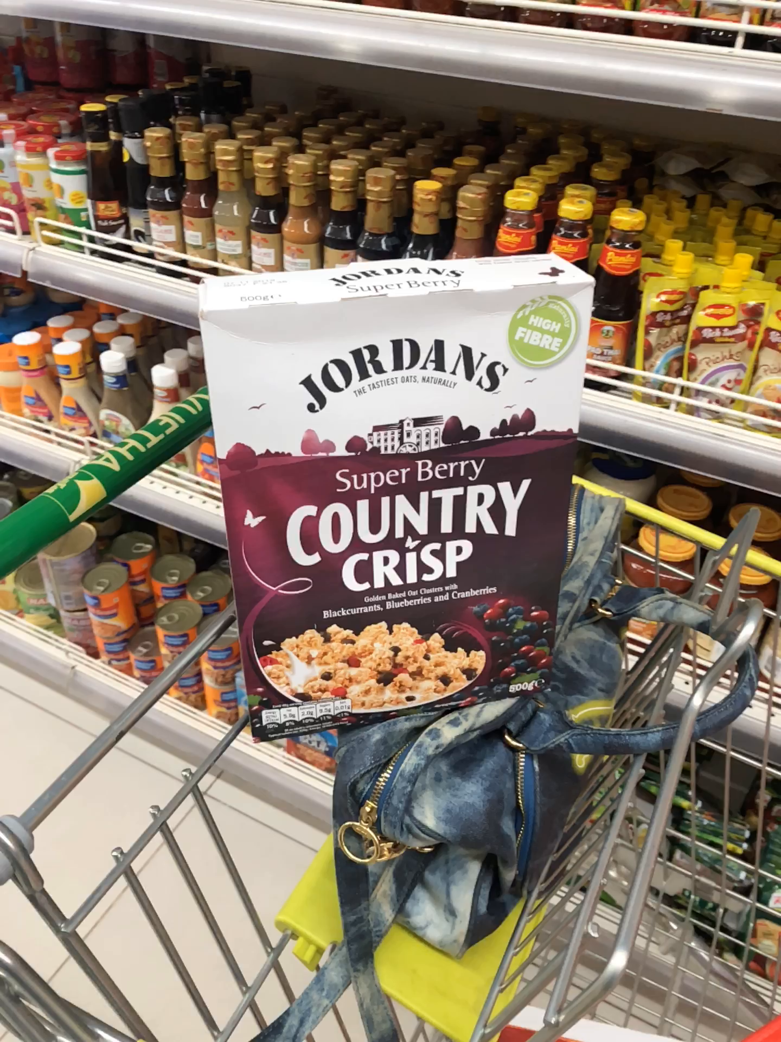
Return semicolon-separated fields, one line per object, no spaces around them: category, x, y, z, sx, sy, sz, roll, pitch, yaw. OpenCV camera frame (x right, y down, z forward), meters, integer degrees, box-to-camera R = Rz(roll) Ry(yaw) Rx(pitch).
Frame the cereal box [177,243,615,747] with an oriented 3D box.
cereal box;0.002;-0.009;0.426;0.180;0.229;0.050;-8;31;-15
